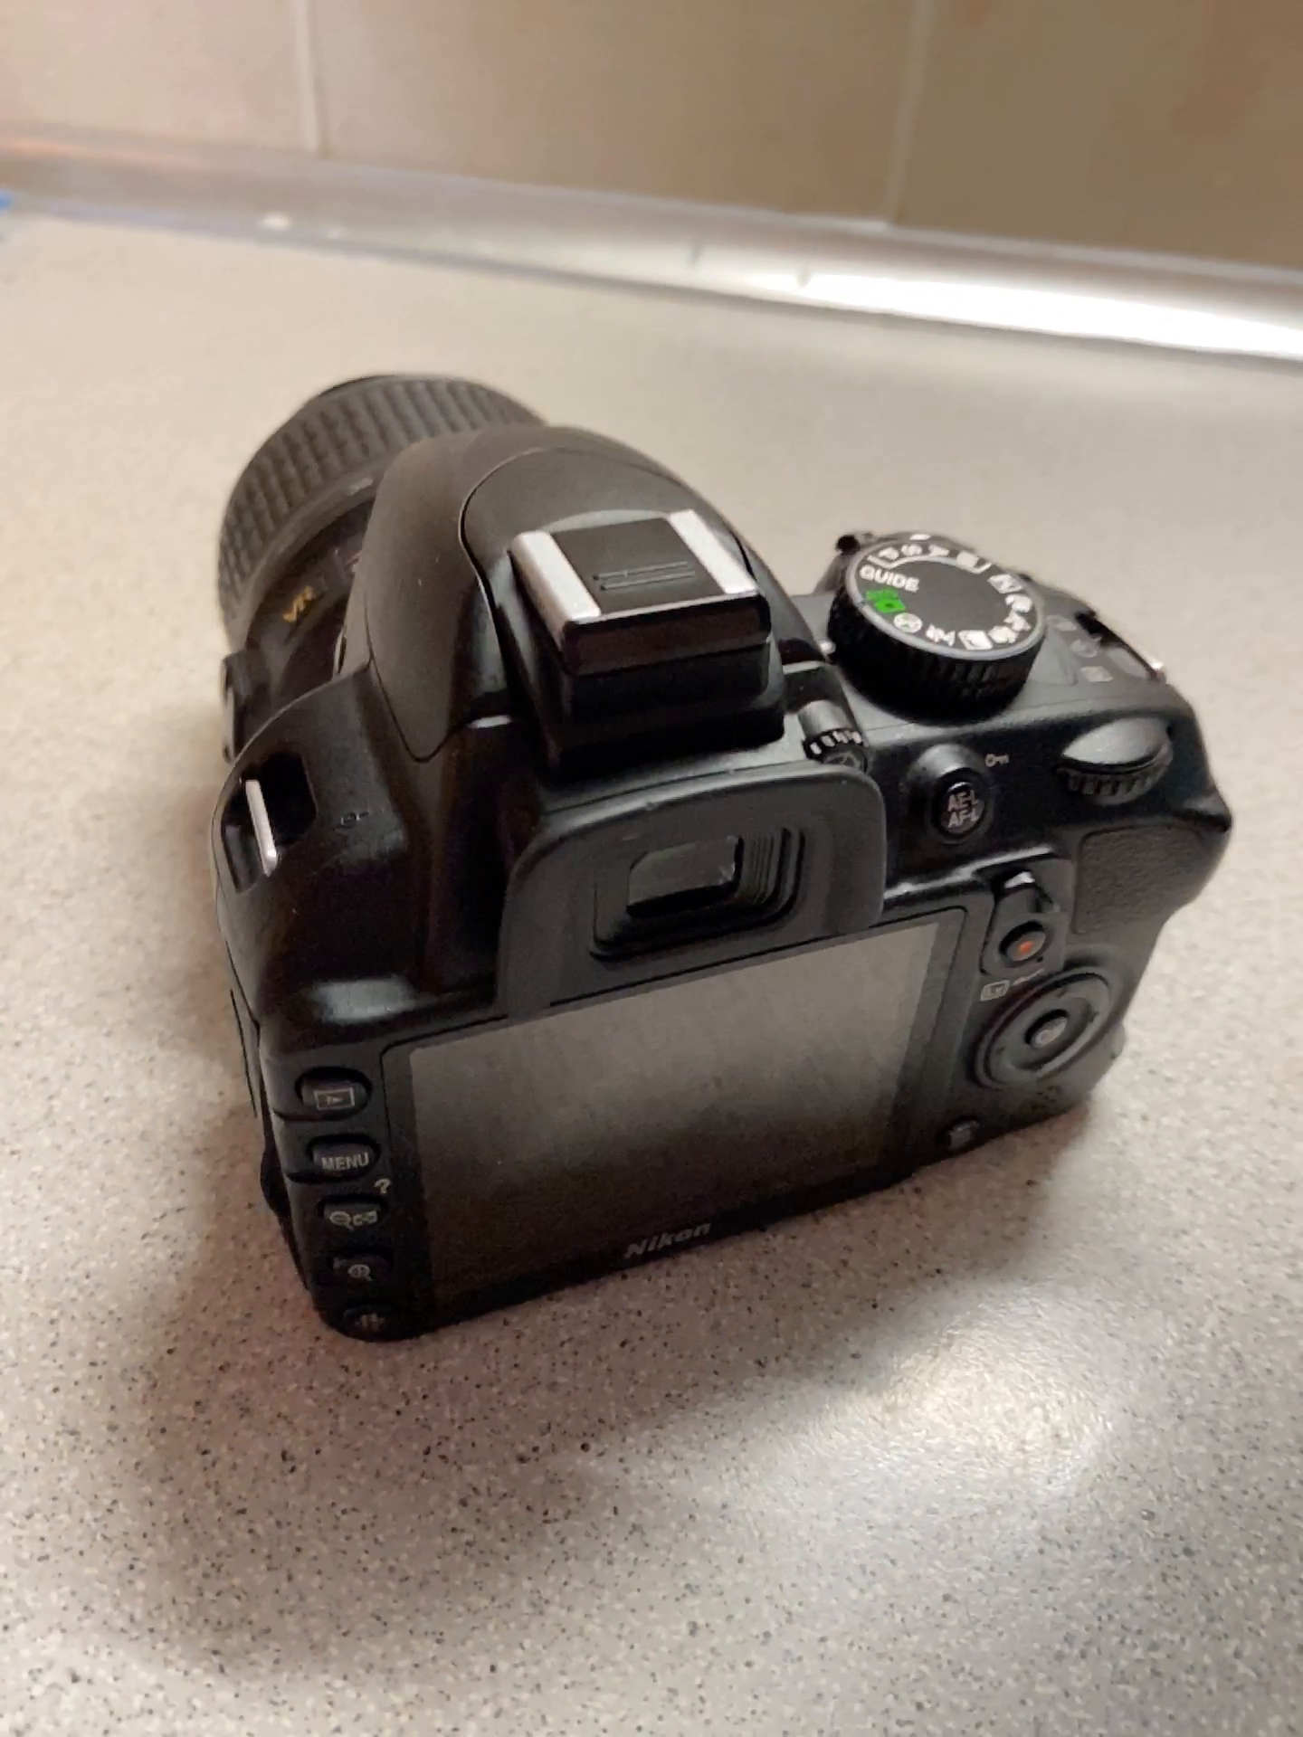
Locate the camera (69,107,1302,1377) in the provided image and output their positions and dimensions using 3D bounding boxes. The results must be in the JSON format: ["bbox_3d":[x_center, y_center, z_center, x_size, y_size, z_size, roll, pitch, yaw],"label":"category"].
[{"bbox_3d":[-0.010,-0.042,0.213,0.122,0.091,0.178,-12,44,-17],"label":"camera"}]
